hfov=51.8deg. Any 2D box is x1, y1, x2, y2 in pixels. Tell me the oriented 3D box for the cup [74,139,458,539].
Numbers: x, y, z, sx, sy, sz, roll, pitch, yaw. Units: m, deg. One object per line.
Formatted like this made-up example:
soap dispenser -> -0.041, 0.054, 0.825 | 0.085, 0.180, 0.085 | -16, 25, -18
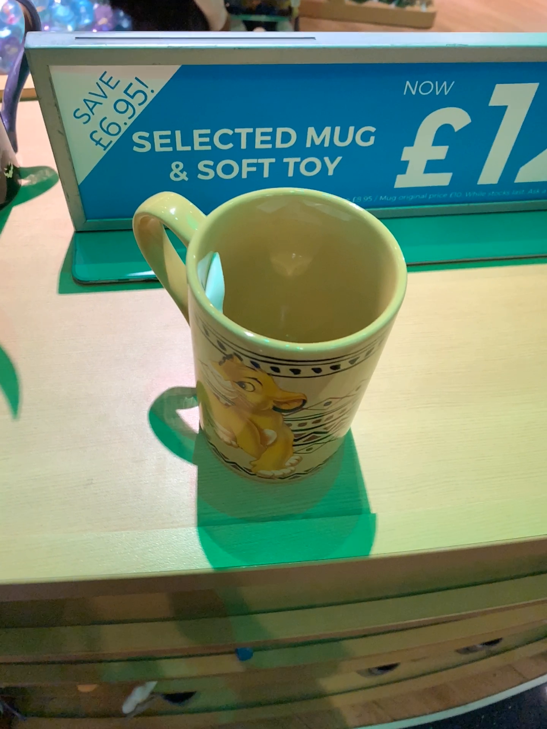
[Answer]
cup -> -0.004, -0.011, 0.272 | 0.119, 0.121, 0.100 | 28, 54, 14
